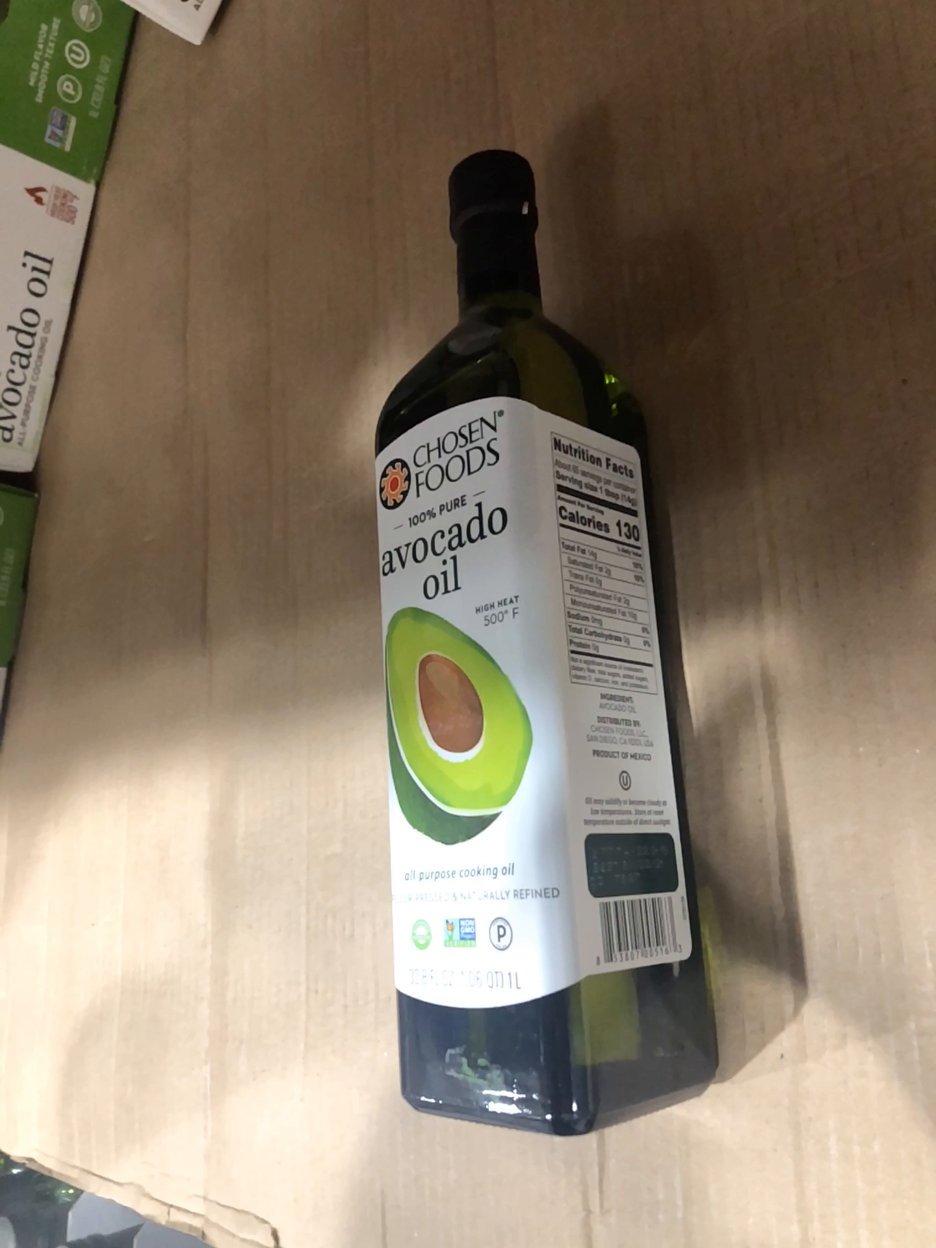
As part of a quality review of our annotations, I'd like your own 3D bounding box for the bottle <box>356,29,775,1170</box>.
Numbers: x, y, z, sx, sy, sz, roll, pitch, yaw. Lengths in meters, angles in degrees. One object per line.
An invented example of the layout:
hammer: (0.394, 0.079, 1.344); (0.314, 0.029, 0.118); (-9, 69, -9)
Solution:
bottle: (0.023, -0.014, 0.335); (0.087, 0.074, 0.320); (-16, 71, 42)
